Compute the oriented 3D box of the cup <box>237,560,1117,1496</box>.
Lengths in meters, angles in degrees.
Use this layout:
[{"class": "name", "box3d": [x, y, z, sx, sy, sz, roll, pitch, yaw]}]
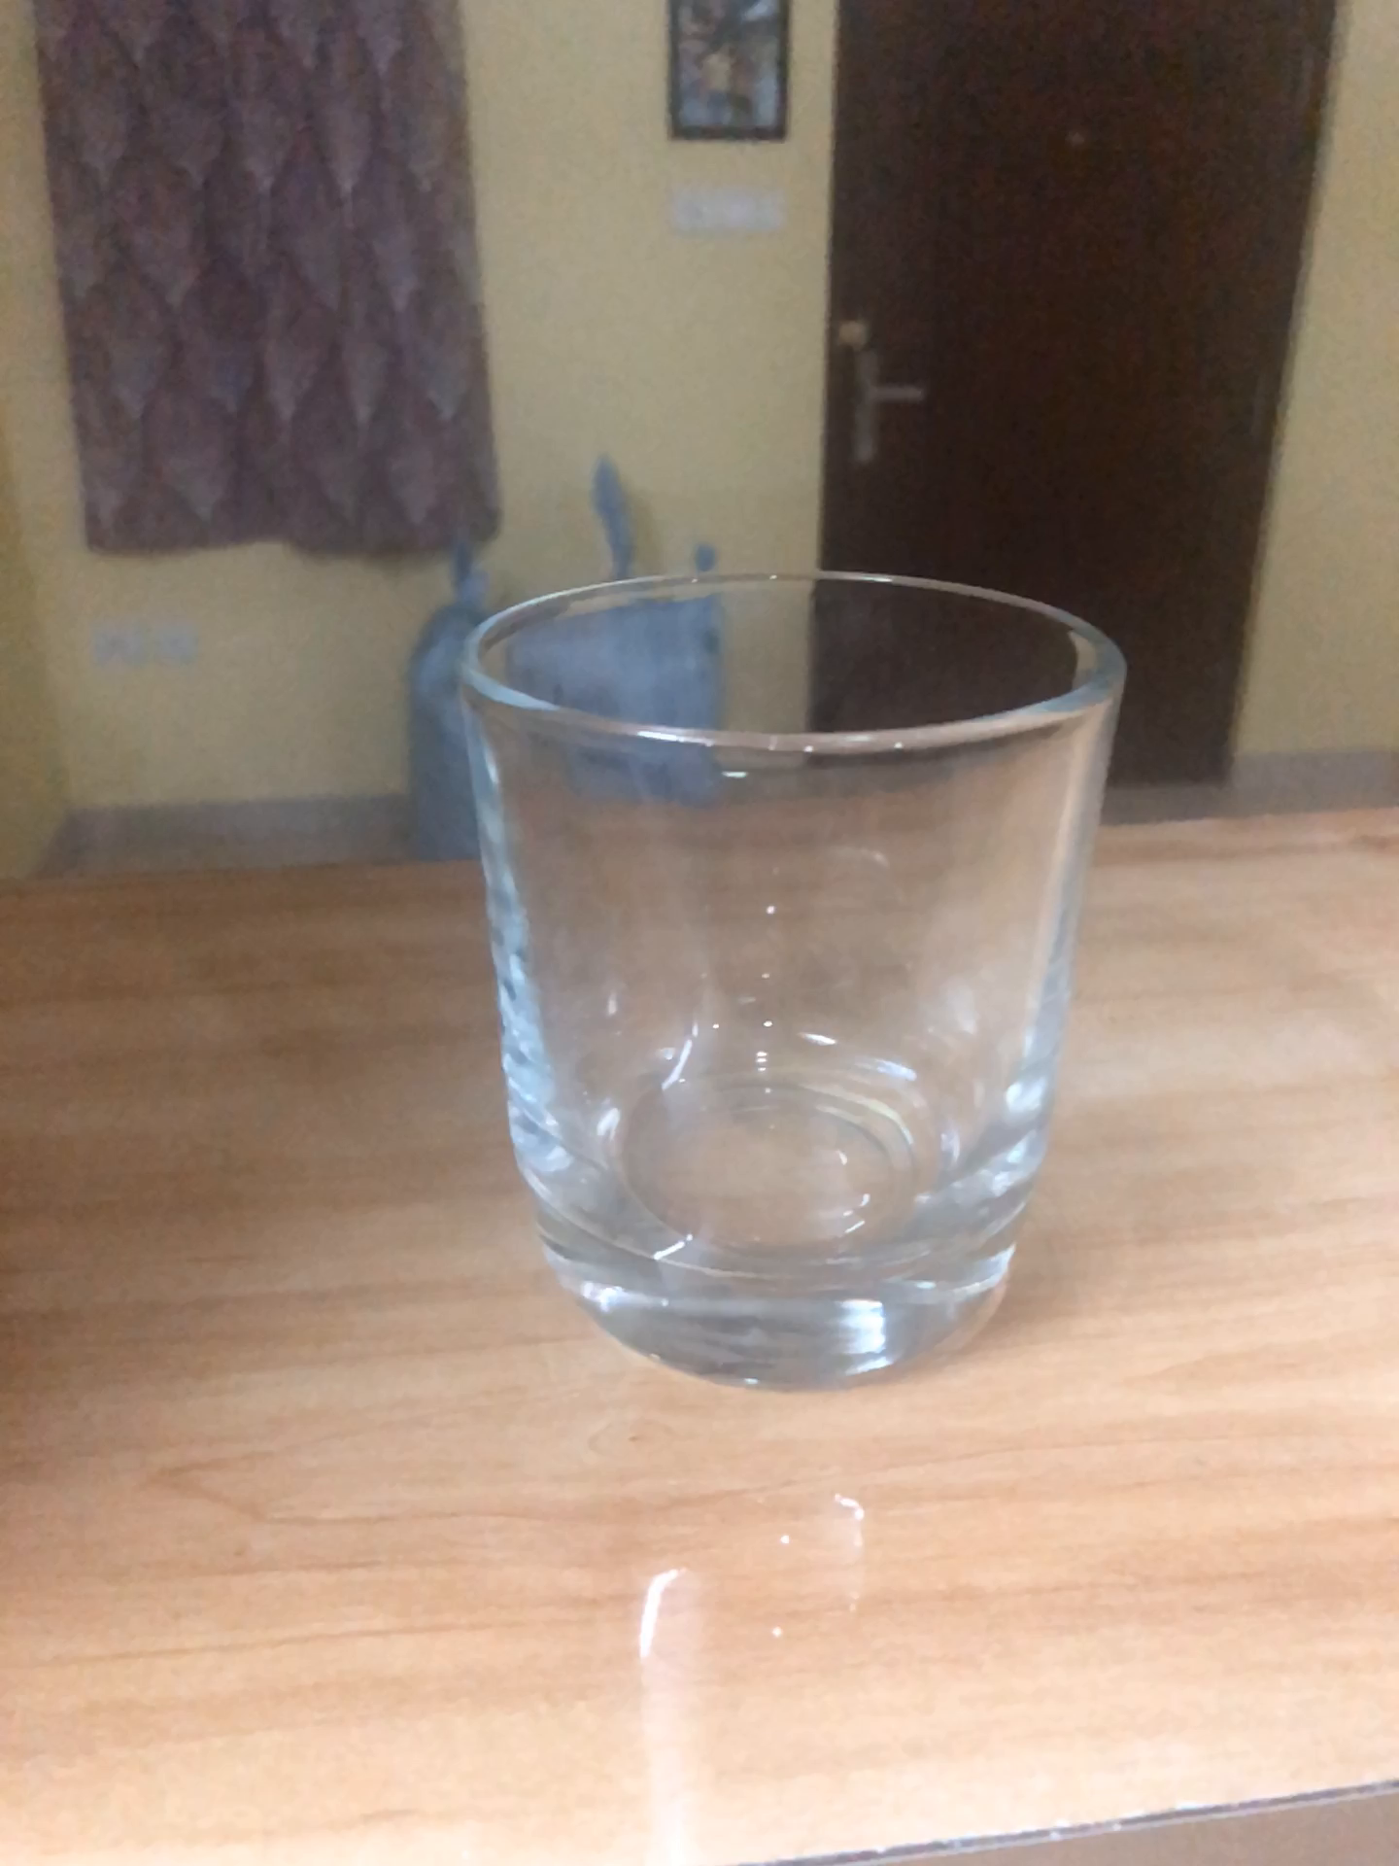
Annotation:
[{"class": "cup", "box3d": [0.004, 0.004, 0.215, 0.090, 0.090, 0.080, 7, 25, 16]}]
